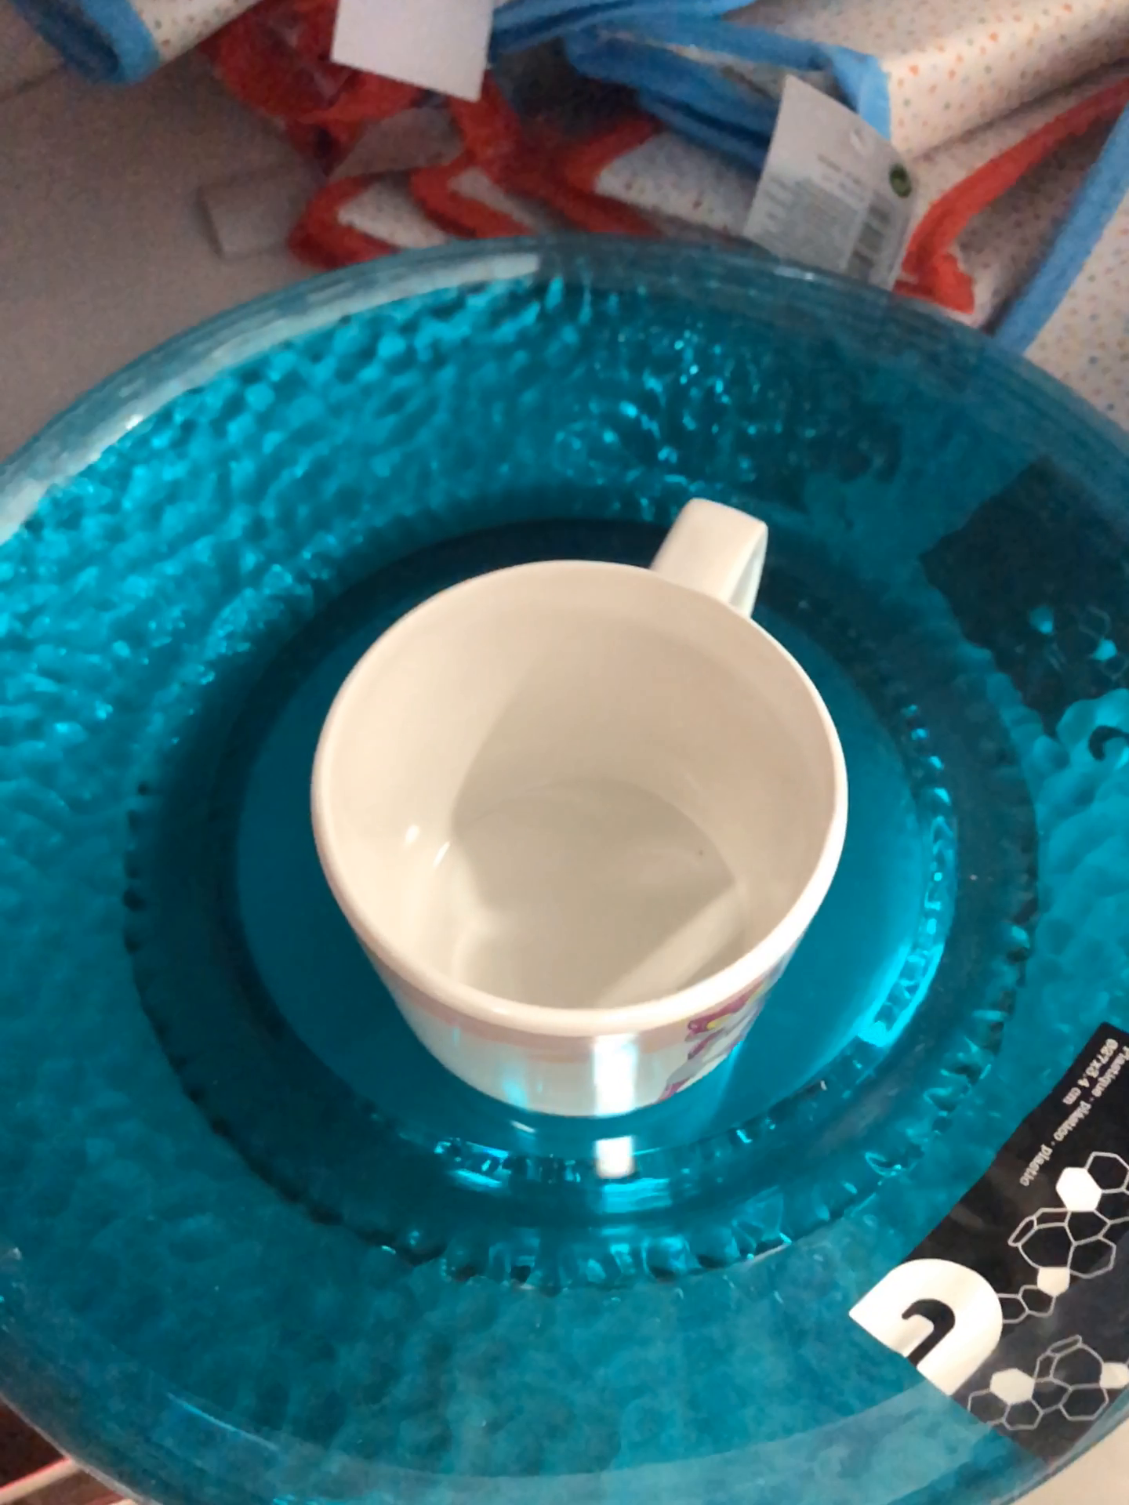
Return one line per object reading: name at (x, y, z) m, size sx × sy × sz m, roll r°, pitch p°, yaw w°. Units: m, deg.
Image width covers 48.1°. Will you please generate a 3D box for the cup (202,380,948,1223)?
cup at (0.007, 0.007, 0.207) m, size 0.075 × 0.064 × 0.103 m, roll 17°, pitch 61°, yaw 10°
